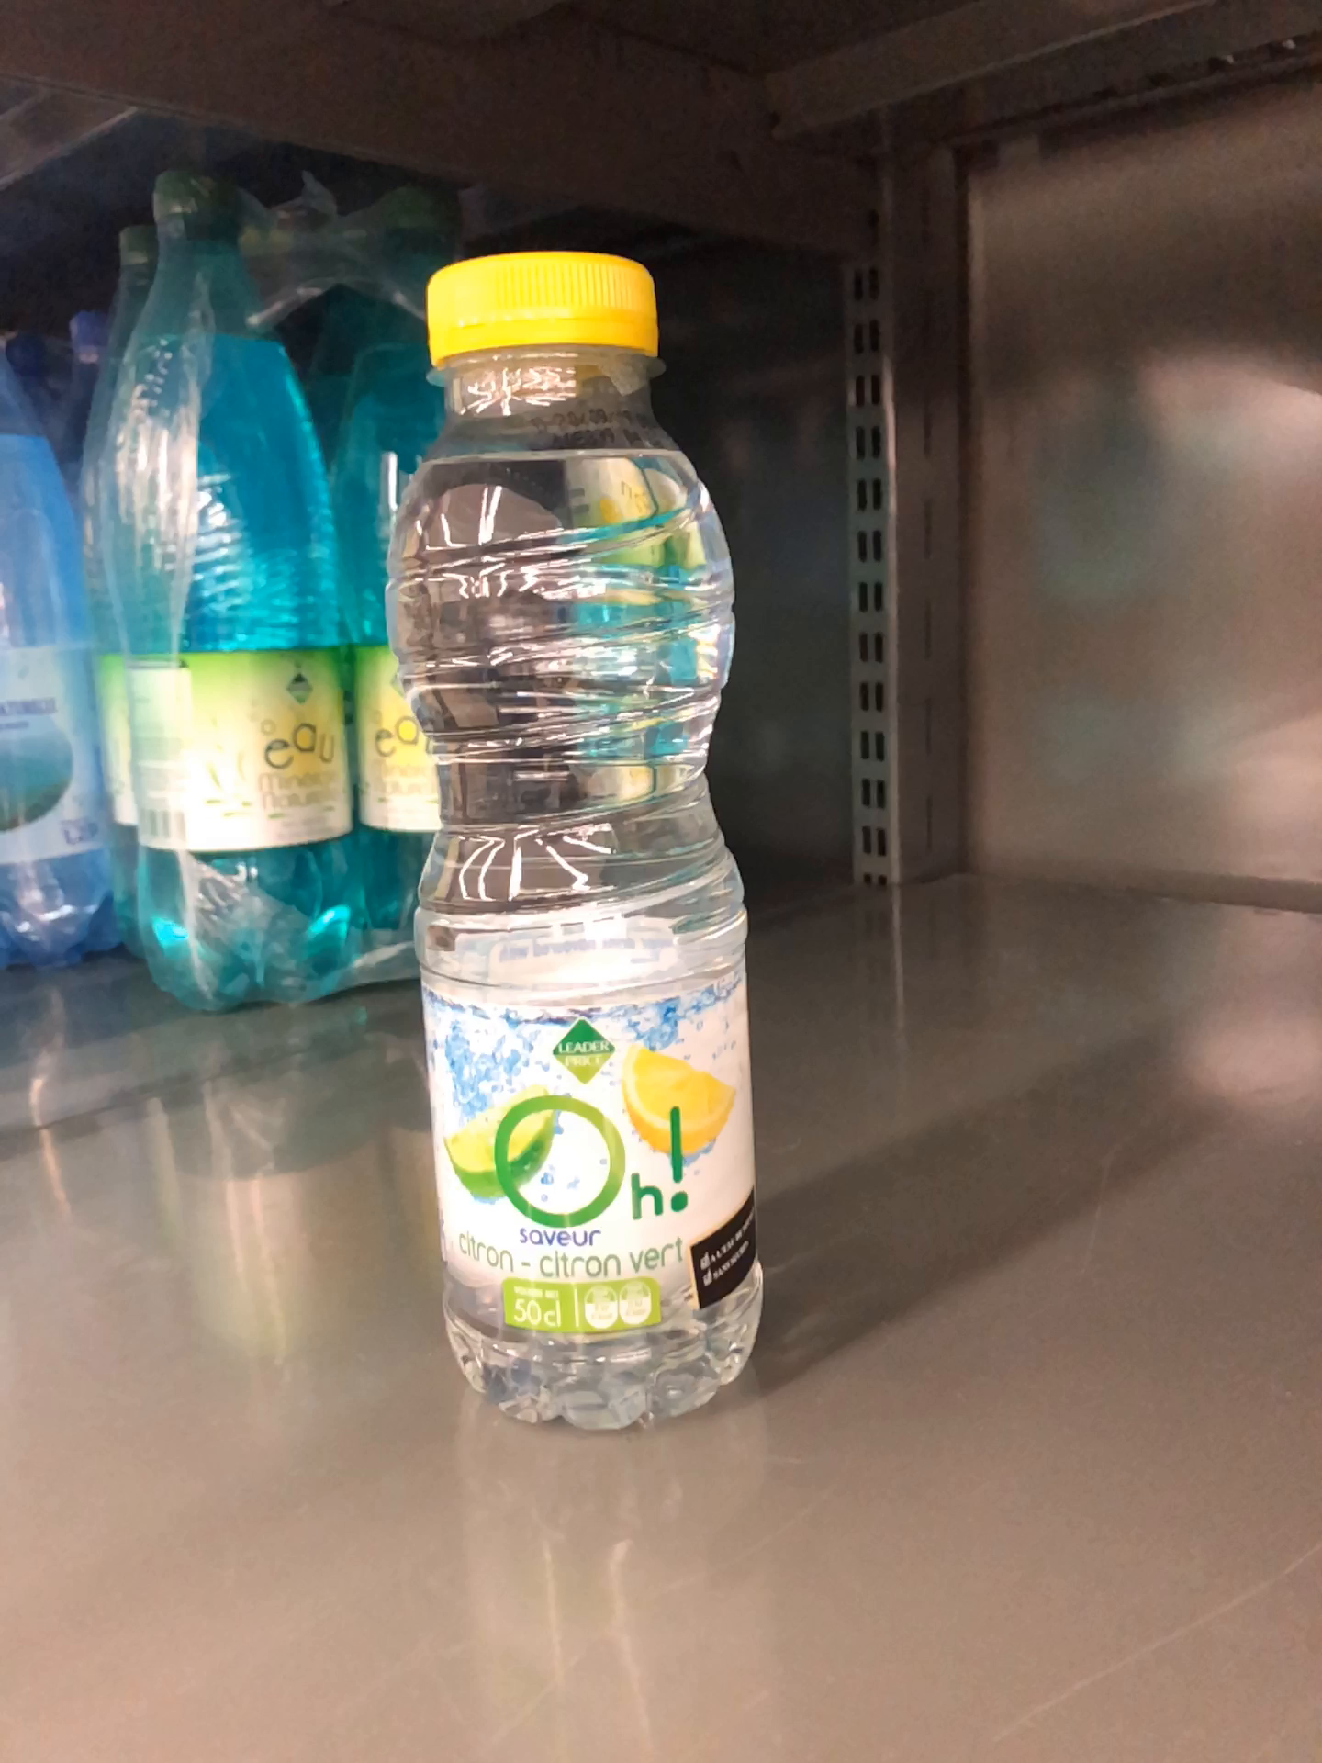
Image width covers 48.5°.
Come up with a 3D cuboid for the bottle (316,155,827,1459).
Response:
[{"bbox_3d":[-0.009,-0.009,0.270,0.070,0.209,0.060,0,10,11],"label":"bottle"}]
